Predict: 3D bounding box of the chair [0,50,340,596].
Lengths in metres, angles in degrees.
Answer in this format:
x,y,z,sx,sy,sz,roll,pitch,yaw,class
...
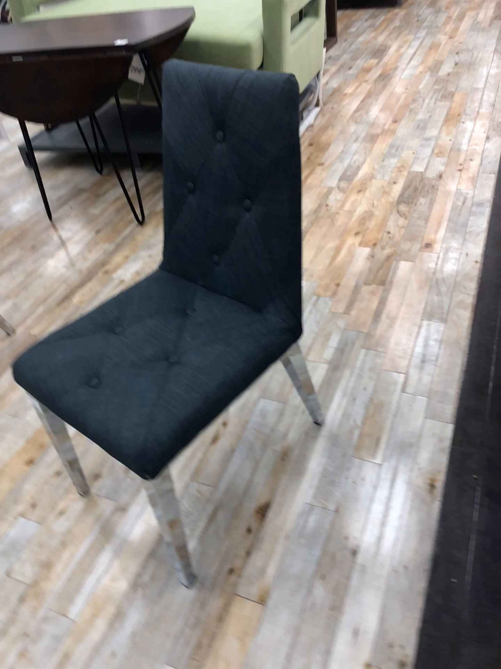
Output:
x,y,z,sx,sy,sz,roll,pitch,yaw,class
-0.174,-0.026,1.147,0.452,0.866,0.580,25,50,34,chair
